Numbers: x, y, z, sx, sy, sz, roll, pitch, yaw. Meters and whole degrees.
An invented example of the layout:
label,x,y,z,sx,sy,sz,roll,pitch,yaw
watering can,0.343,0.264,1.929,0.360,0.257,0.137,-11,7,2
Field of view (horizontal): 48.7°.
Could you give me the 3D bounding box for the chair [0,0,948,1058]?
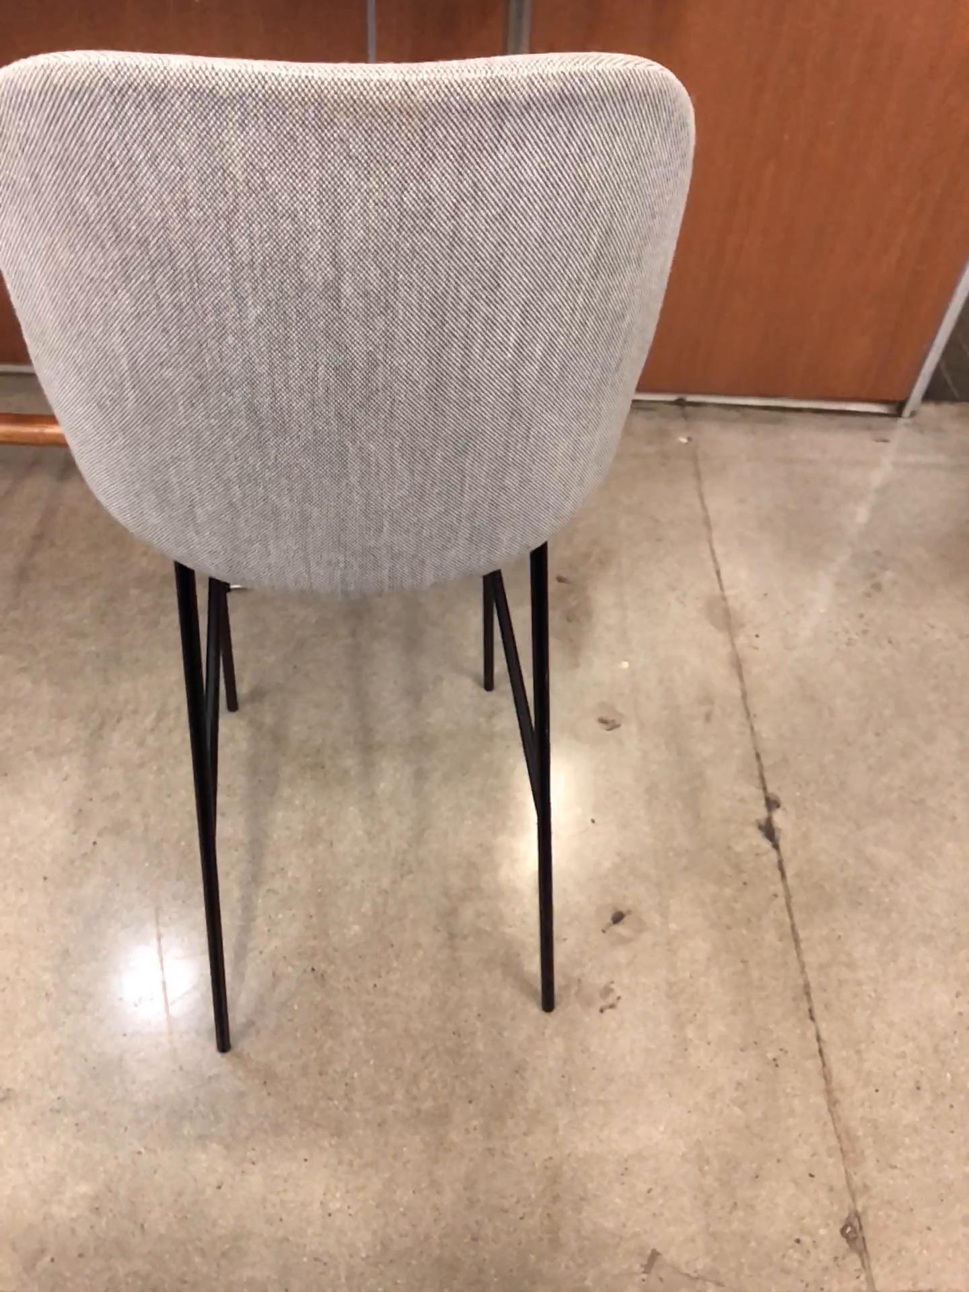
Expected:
label,x,y,z,sx,sy,sz,roll,pitch,yaw
chair,-0.102,-0.130,1.048,0.460,1.096,0.622,-3,50,-7
